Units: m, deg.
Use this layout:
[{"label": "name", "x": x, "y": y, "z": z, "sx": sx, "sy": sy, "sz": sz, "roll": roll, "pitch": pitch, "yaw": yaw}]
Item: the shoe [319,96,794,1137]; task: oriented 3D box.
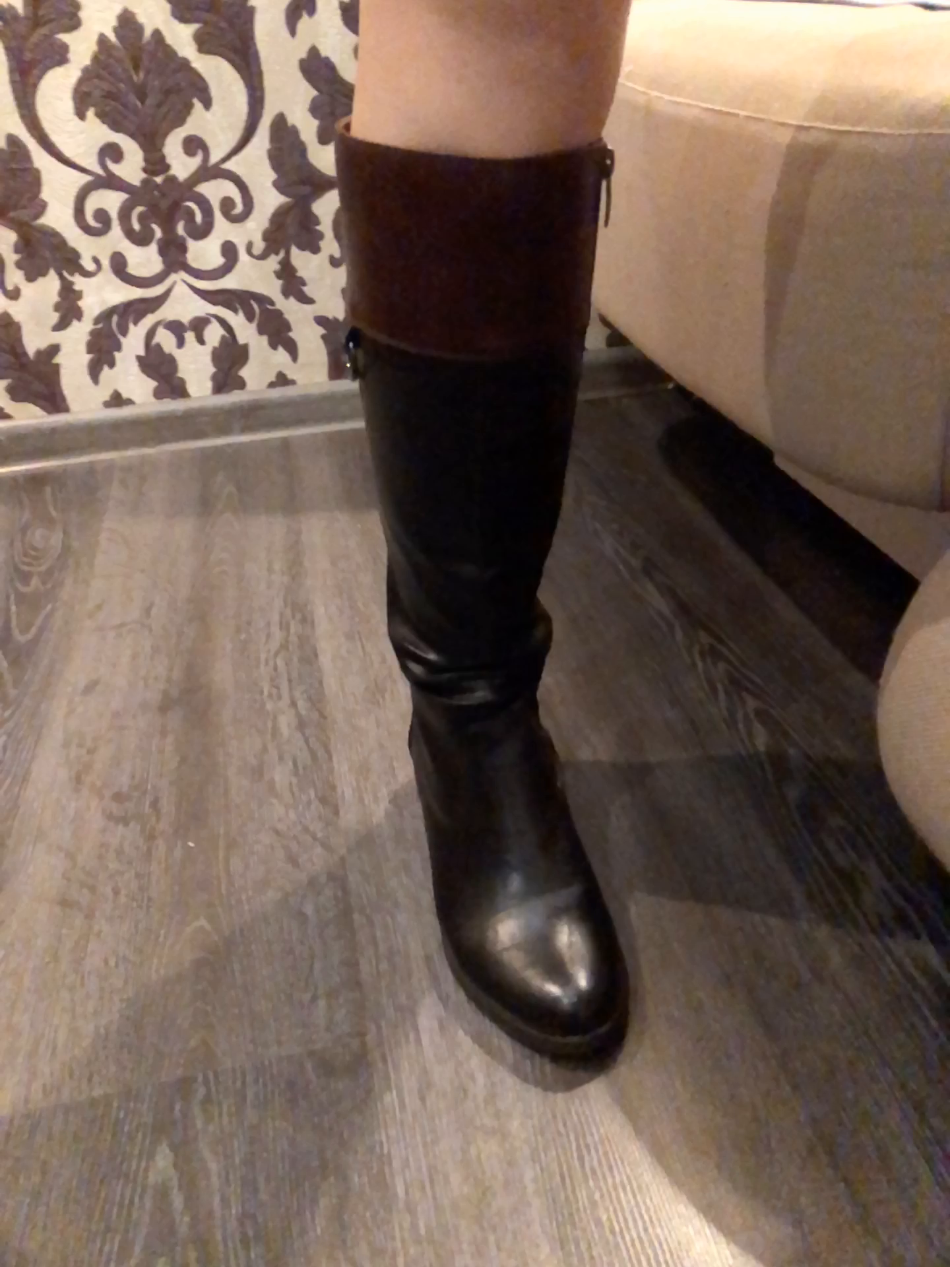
[{"label": "shoe", "x": 0.018, "y": -0.014, "z": 0.511, "sx": 0.110, "sy": 0.417, "sz": 0.272, "roll": -9, "pitch": 33, "yaw": -9}]
